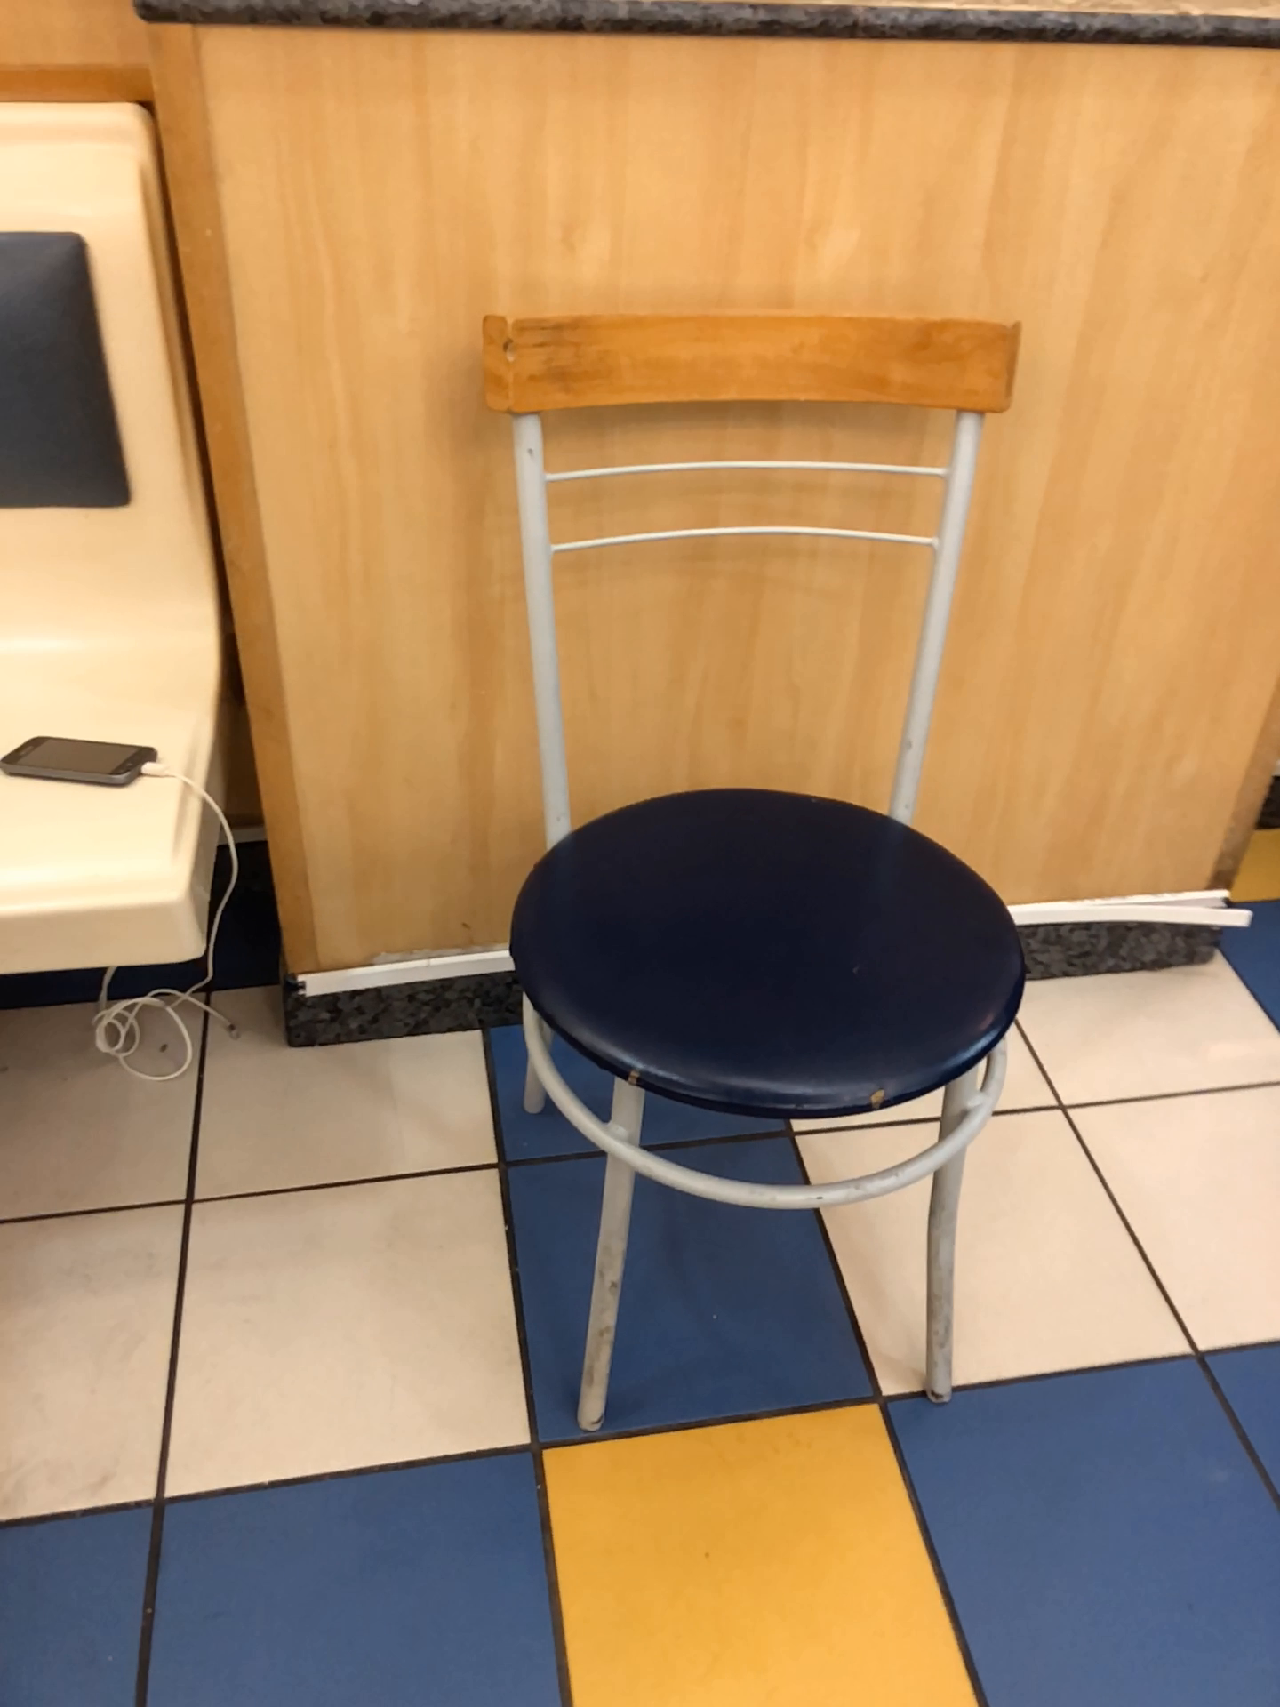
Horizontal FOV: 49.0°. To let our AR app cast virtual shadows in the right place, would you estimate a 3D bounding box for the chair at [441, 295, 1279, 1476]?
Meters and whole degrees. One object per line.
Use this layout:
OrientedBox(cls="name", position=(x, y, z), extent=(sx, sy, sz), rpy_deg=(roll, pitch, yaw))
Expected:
OrientedBox(cls="chair", position=(0.092, 0.019, 1.116), extent=(0.440, 0.744, 0.524), rpy_deg=(-4, 37, -8))
